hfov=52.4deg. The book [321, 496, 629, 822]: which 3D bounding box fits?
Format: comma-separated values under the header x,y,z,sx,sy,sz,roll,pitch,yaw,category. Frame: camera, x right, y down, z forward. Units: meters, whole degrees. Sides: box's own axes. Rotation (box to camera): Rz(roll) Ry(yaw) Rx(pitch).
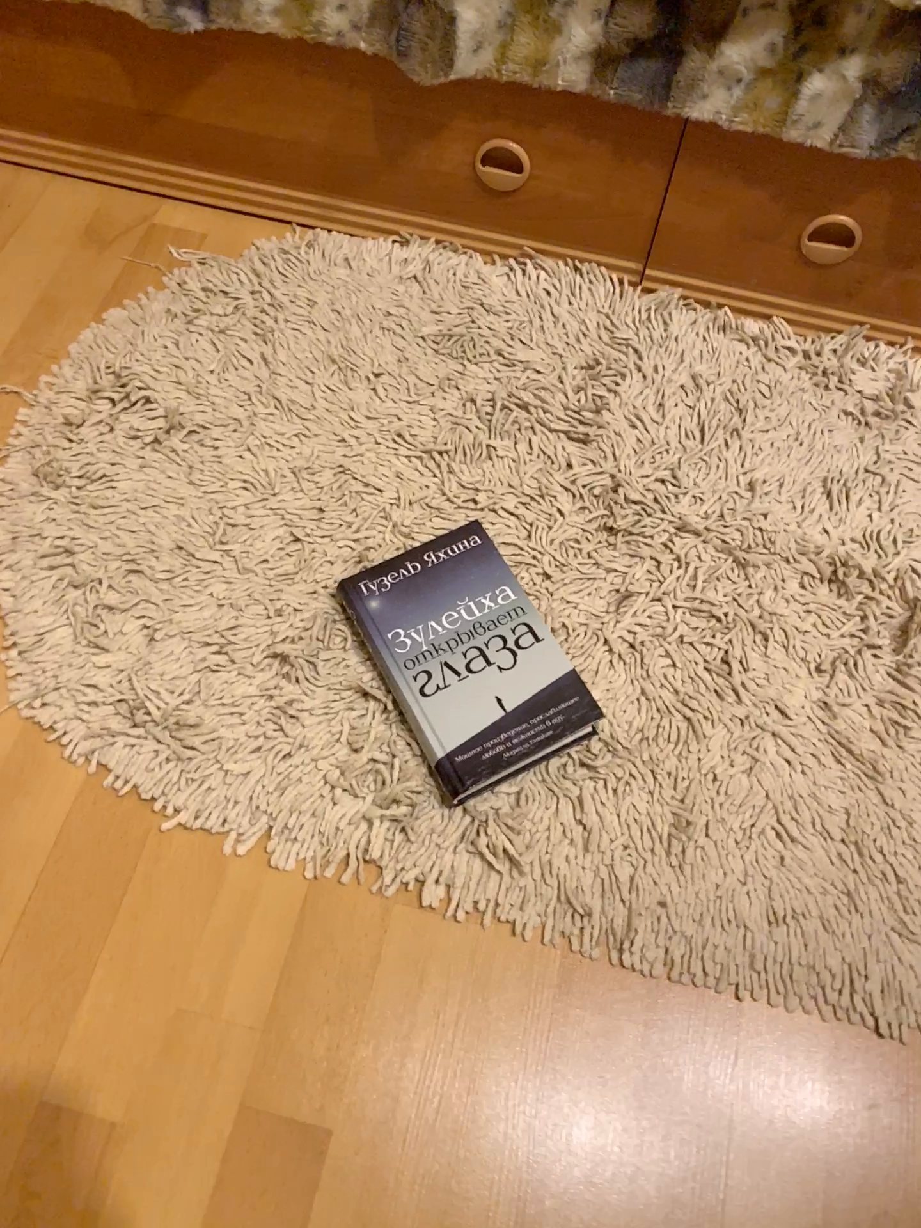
x,y,z,sx,sy,sz,roll,pitch,yaw,category
0.006,0.027,0.736,0.150,0.040,0.221,-24,65,-16,book
